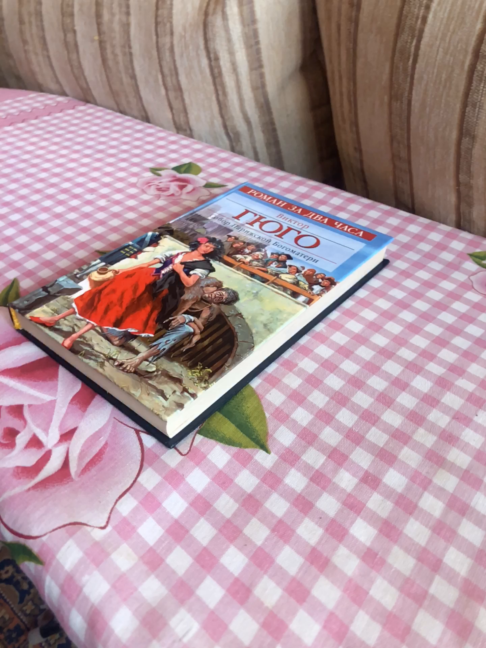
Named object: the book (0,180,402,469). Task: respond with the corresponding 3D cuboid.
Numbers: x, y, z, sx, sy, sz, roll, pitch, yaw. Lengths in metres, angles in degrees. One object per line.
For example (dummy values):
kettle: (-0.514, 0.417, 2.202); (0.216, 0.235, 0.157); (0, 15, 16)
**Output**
book: (-0.016, -0.023, 0.333); (0.136, 0.027, 0.207); (29, 48, 31)
